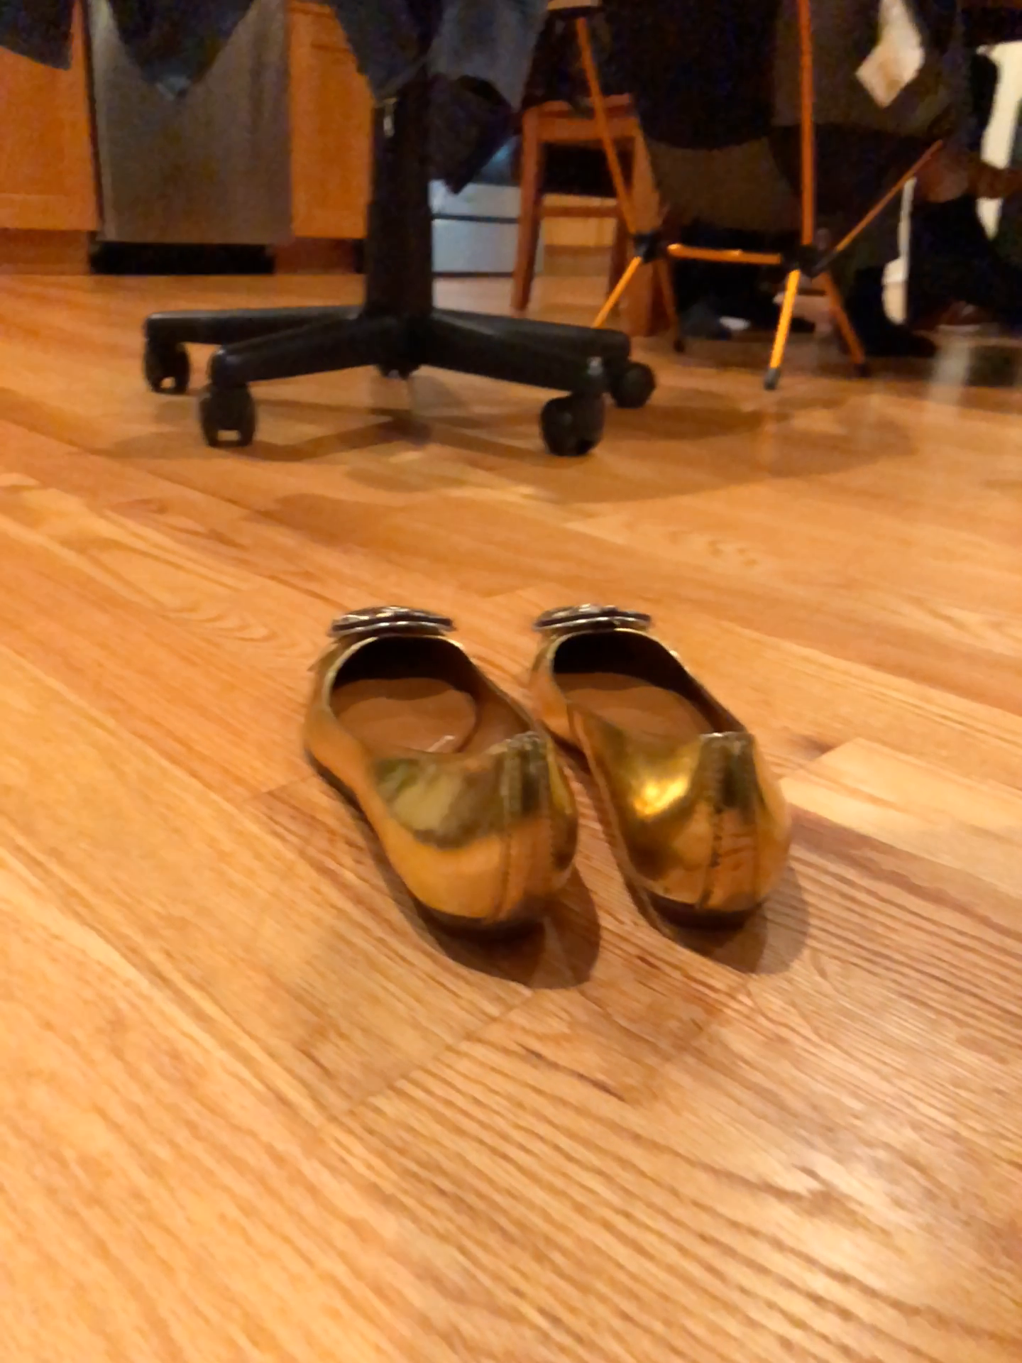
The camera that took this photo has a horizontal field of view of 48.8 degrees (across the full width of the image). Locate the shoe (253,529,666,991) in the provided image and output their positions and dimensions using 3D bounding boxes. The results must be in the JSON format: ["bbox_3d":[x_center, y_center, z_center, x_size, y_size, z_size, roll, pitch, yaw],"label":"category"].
[{"bbox_3d":[-0.037,0.008,0.429,0.083,0.066,0.245,-5,24,-20],"label":"shoe"}]

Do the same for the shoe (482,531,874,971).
[{"bbox_3d":[0.045,0.006,0.443,0.077,0.066,0.250,-1,23,-10],"label":"shoe"}]
